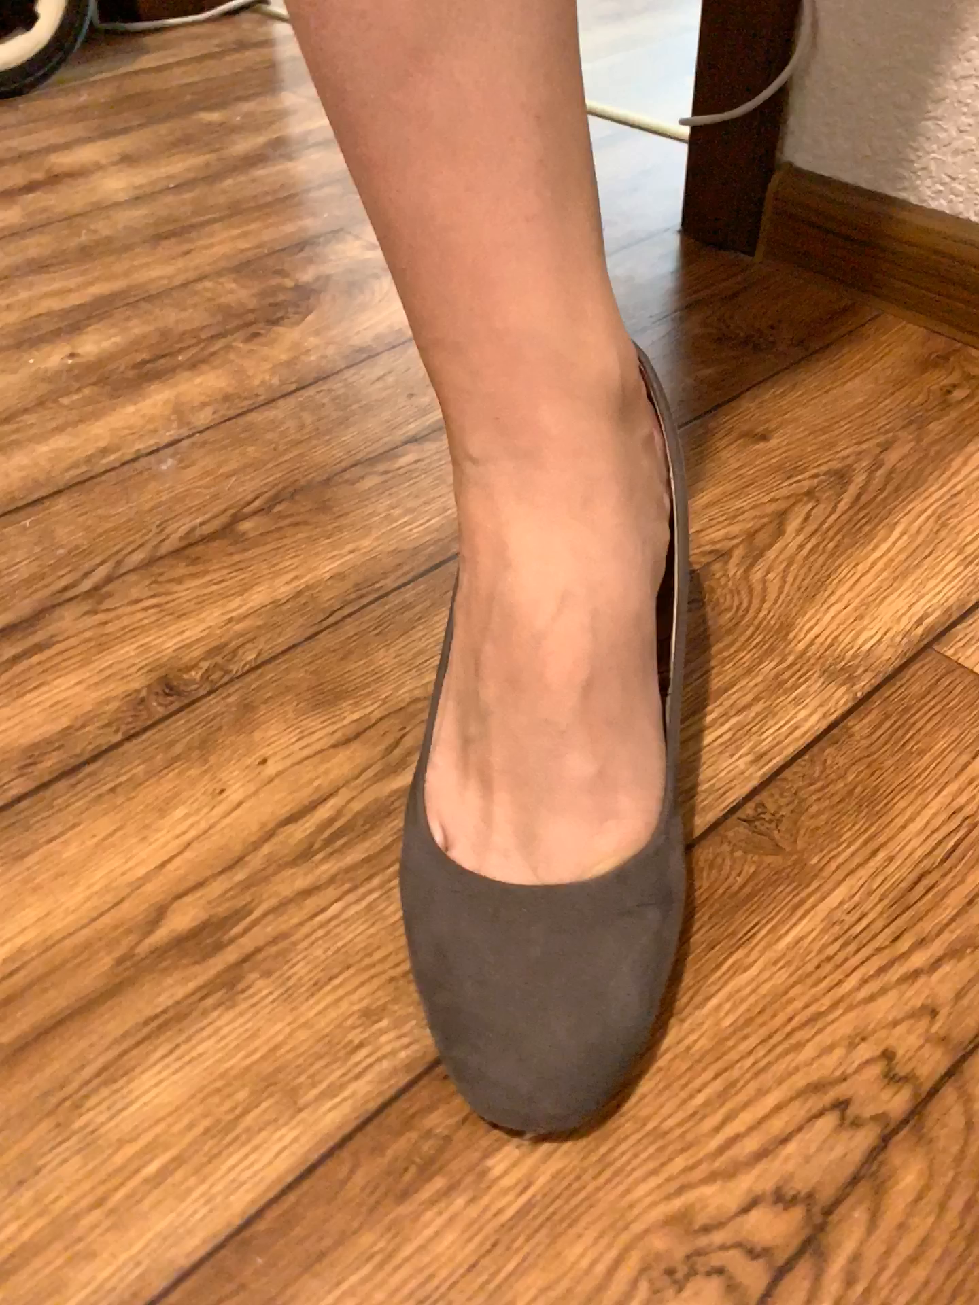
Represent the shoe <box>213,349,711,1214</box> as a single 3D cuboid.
[{"bbox_3d":[0.015,0.016,0.280,0.083,0.109,0.211,3,44,10],"label":"shoe"}]
